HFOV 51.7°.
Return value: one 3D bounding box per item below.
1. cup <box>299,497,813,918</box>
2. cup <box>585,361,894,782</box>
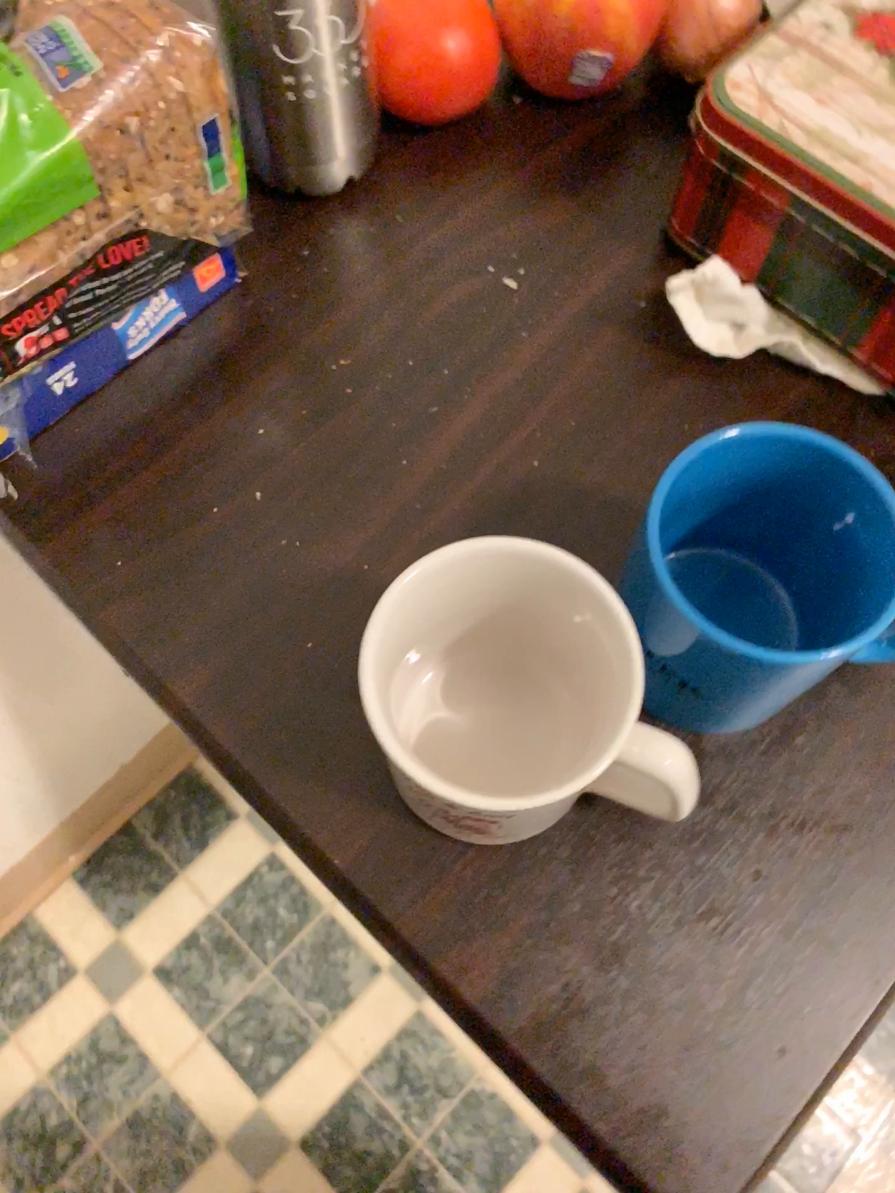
[{"bbox_3d":[0.033,0.042,0.305,0.130,0.100,0.090,12,69,5],"label":"cup"},{"bbox_3d":[0.130,-0.003,0.319,0.140,0.100,0.090,10,69,4],"label":"cup"}]
